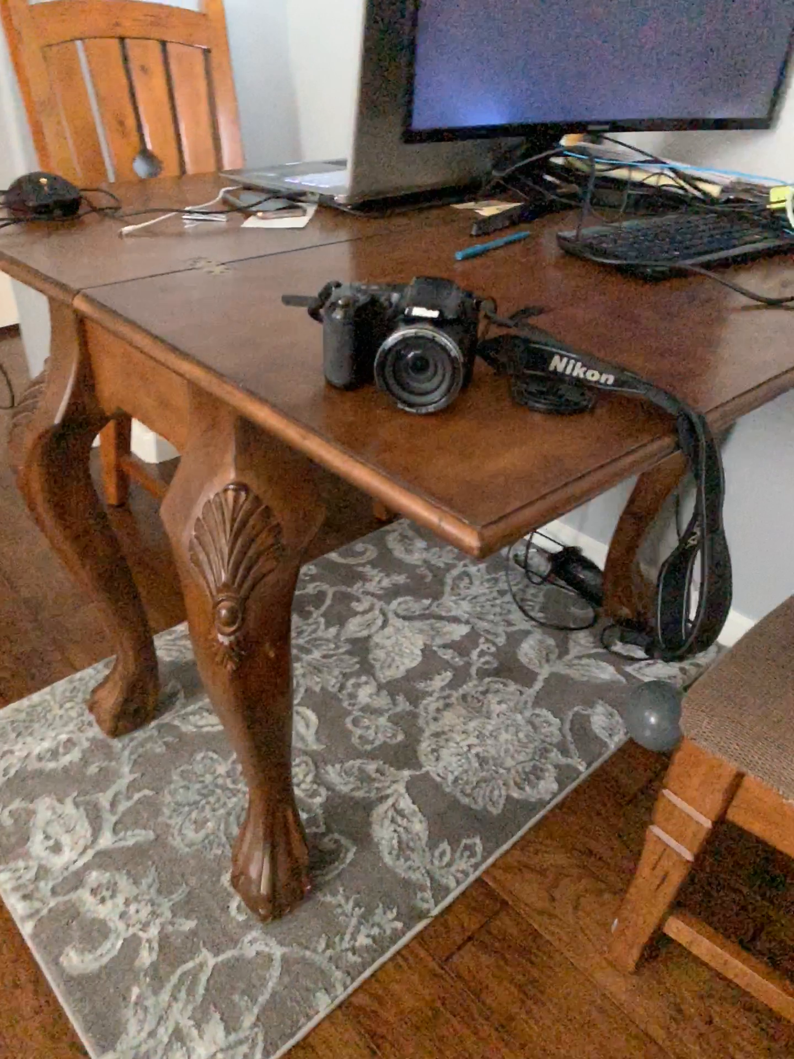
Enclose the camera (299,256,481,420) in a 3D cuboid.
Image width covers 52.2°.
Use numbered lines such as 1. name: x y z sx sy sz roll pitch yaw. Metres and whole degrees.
1. camera: -0.003 -0.139 0.576 0.110 0.079 0.091 7 32 8
